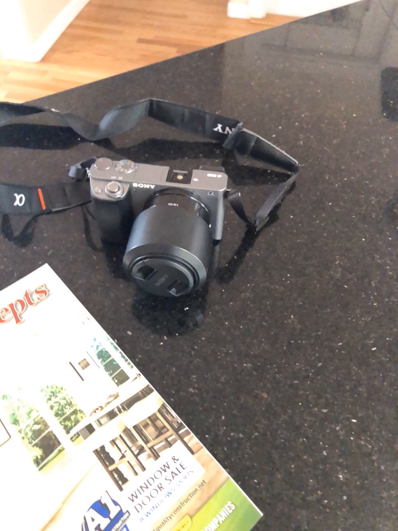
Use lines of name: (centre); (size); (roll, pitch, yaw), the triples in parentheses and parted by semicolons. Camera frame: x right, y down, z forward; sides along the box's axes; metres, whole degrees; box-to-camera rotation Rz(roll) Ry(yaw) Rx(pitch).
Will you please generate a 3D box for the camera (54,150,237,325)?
camera: (-0.038, -0.024, 0.389); (0.127, 0.100, 0.100); (7, 53, 4)
